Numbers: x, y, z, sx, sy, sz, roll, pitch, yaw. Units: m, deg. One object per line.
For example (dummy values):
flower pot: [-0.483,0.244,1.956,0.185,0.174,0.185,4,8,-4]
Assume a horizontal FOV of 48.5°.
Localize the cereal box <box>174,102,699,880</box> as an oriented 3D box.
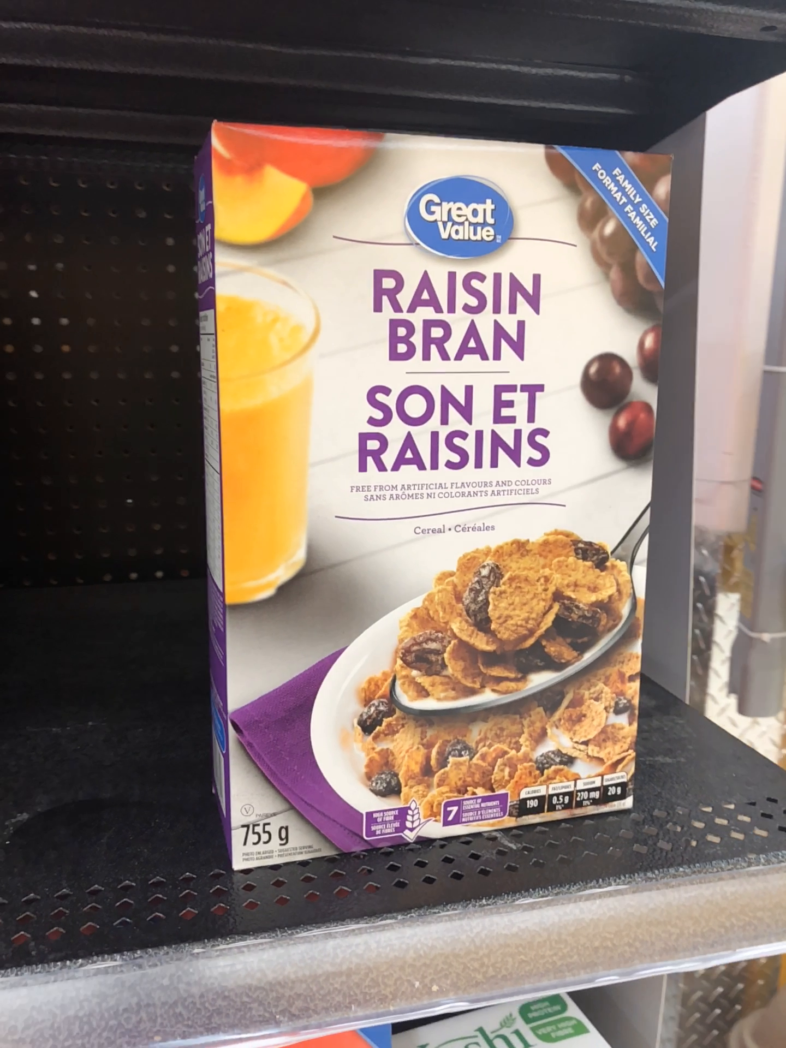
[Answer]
cereal box: [0.015,-0.011,0.396,0.210,0.299,0.070,-3,12,-17]
